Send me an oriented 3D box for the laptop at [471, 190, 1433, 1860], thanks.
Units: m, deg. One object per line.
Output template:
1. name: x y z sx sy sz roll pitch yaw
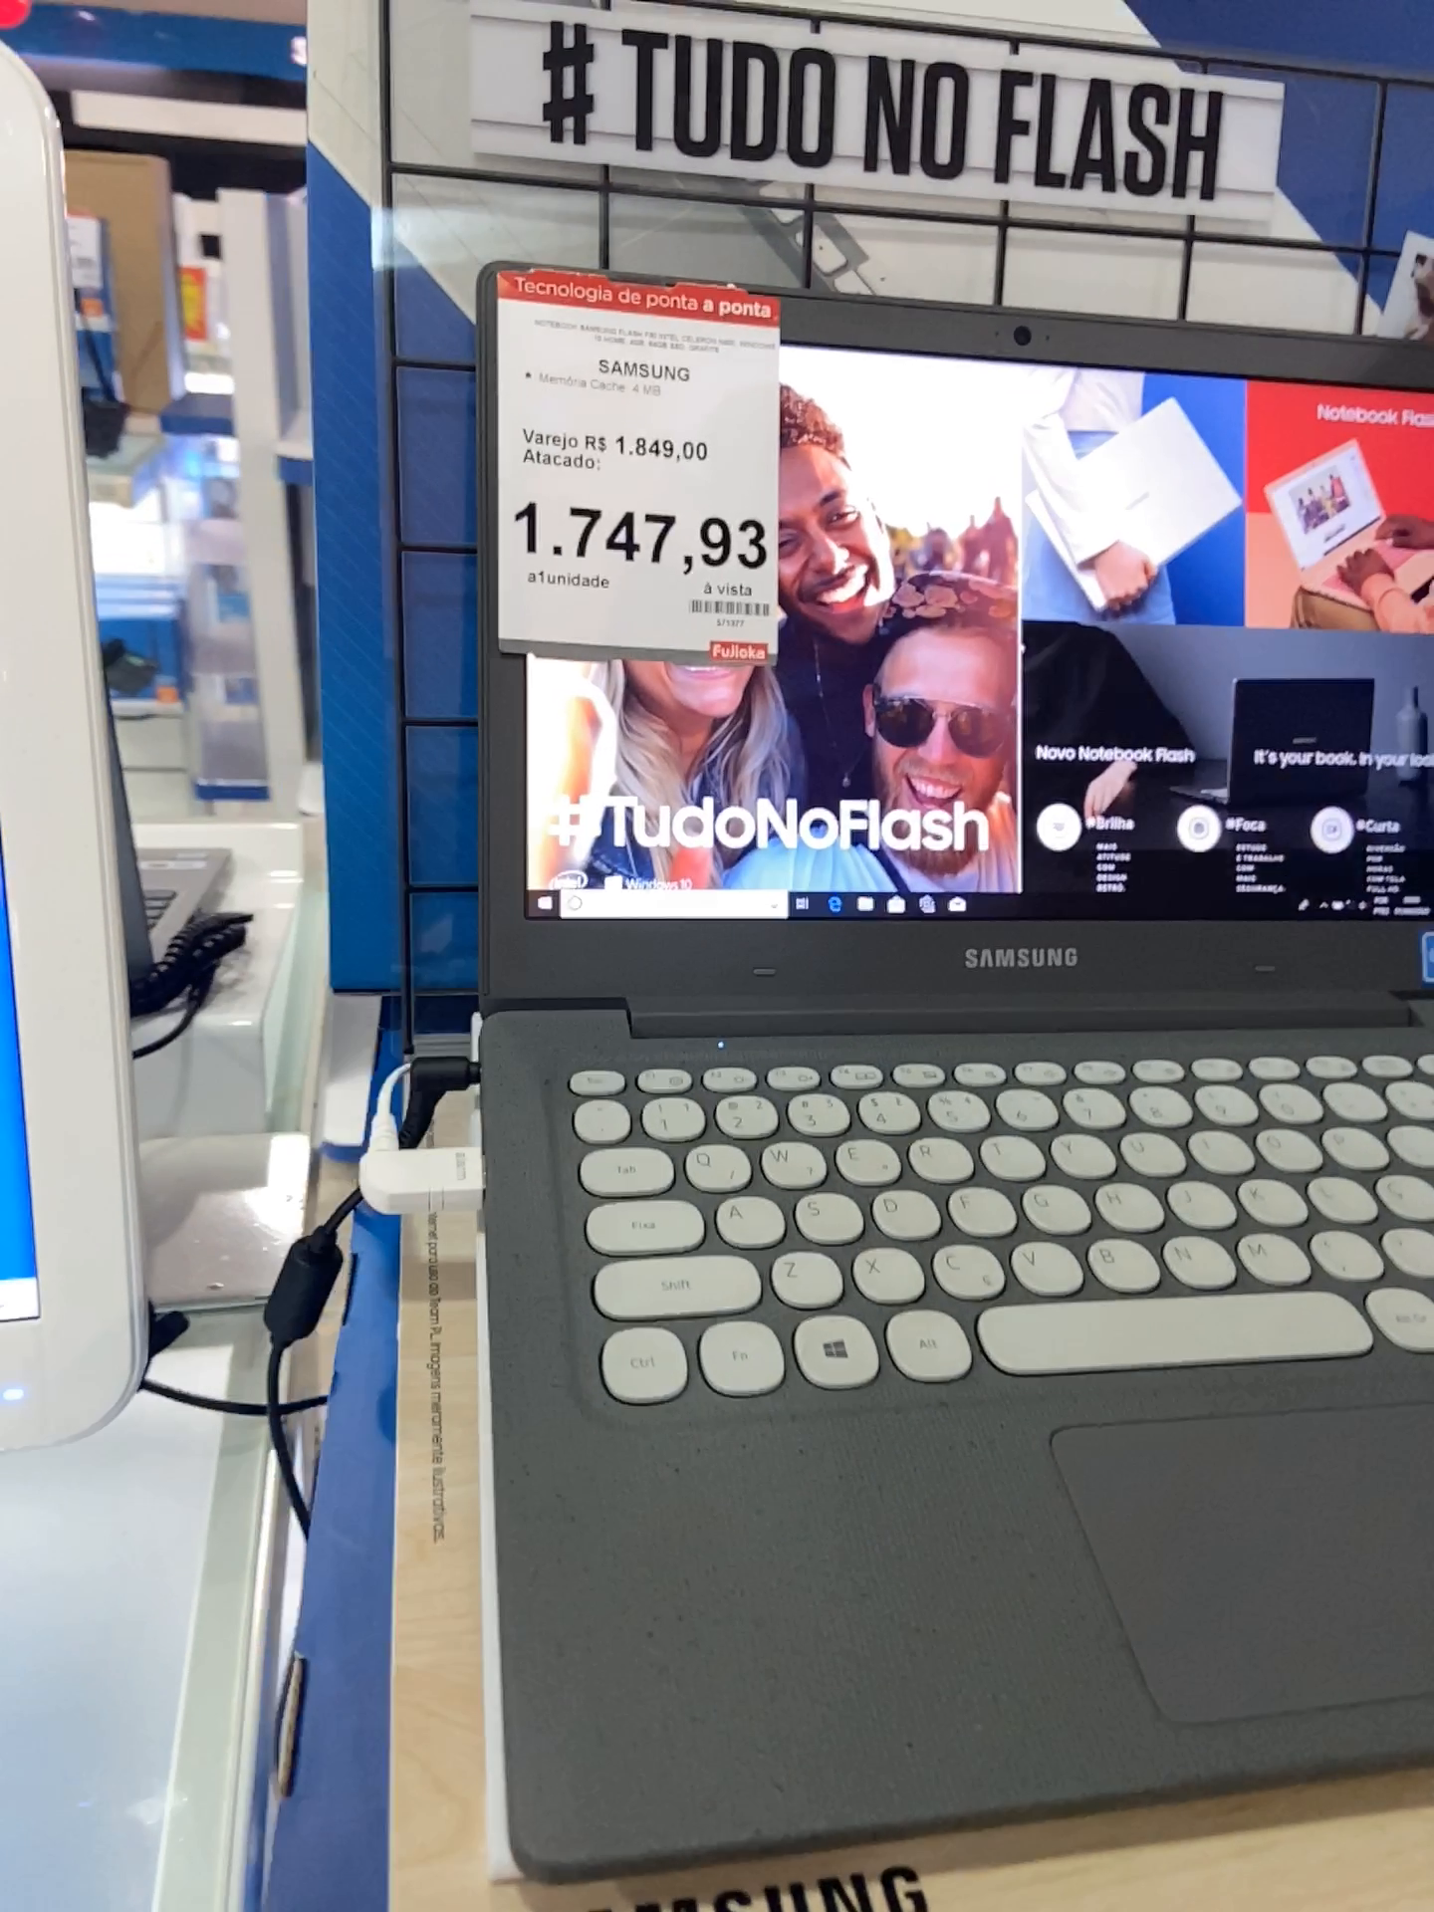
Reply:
1. laptop: 0.107 -0.044 0.360 0.322 0.181 0.346 -1 32 -10
